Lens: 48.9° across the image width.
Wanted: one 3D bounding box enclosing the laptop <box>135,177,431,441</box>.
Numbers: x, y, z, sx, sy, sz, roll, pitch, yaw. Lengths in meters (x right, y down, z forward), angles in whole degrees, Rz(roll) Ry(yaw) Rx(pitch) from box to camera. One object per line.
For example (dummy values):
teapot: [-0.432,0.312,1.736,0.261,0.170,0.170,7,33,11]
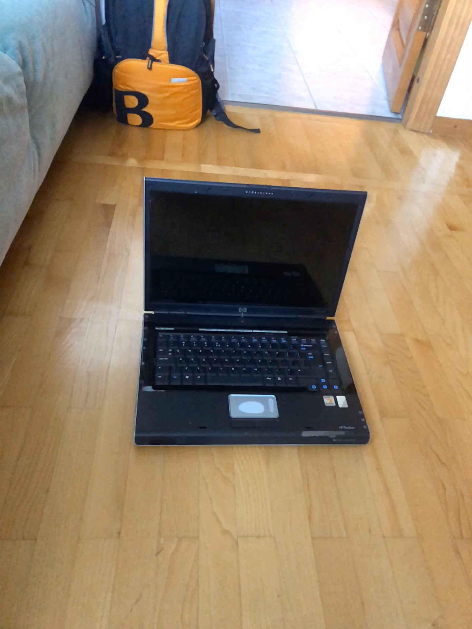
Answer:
laptop: [0.037,-0.010,0.816,0.363,0.254,0.308,2,43,-8]
